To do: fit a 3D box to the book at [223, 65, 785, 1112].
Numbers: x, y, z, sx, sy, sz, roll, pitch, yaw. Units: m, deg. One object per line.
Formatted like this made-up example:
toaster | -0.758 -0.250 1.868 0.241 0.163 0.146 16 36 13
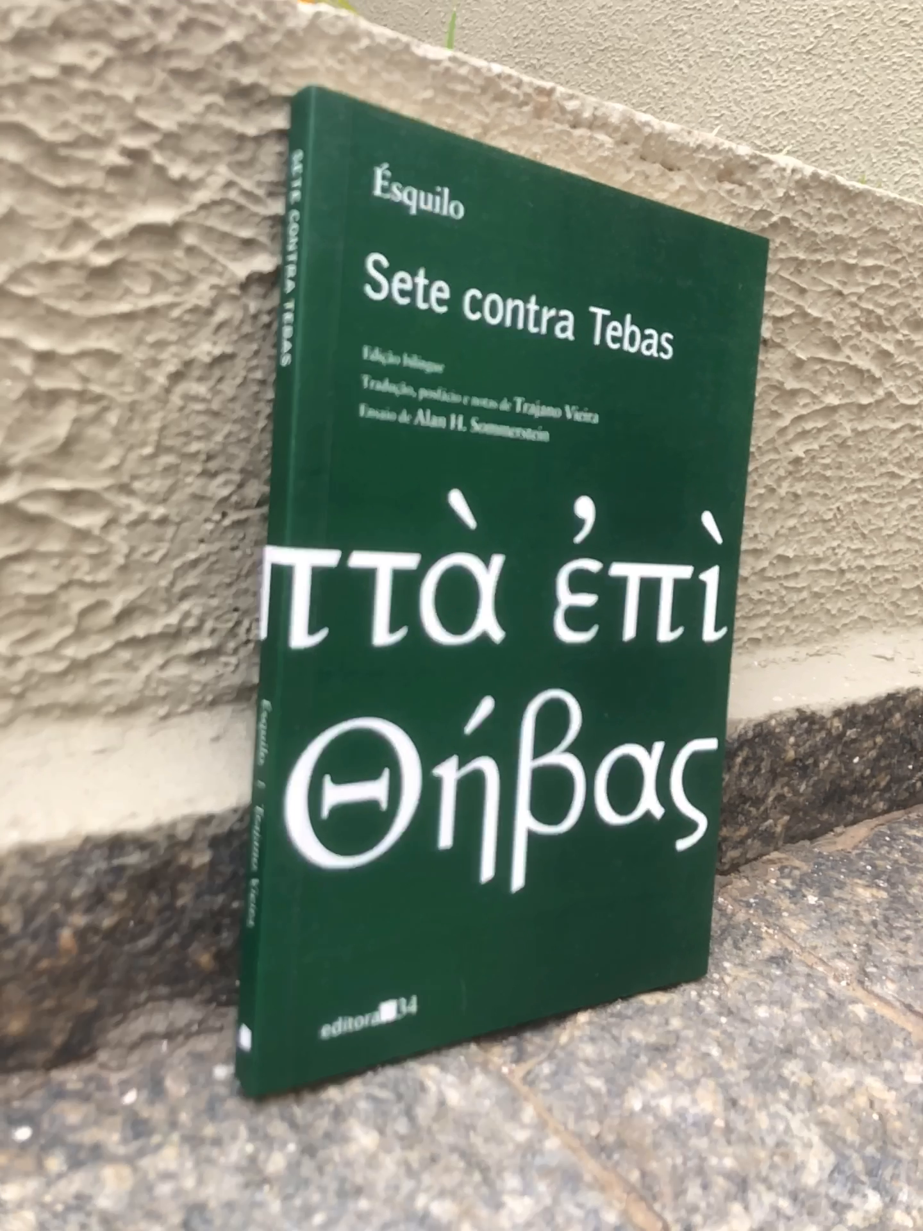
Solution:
book | 0.016 -0.005 0.236 0.140 0.196 0.020 -1 4 -32
